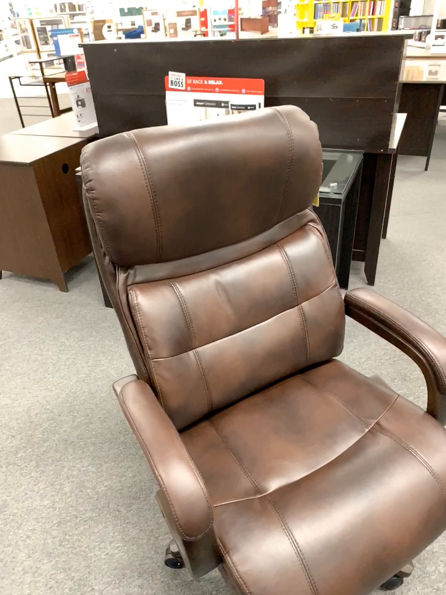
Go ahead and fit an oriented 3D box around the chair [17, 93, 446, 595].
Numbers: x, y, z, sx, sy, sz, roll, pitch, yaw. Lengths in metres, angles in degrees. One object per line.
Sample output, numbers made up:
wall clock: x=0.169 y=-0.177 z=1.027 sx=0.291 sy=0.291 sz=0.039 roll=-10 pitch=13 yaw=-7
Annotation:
chair: x=0.121 y=0.212 z=1.041 sx=0.711 sy=1.094 sz=0.703 roll=-20 pitch=36 yaw=-24
